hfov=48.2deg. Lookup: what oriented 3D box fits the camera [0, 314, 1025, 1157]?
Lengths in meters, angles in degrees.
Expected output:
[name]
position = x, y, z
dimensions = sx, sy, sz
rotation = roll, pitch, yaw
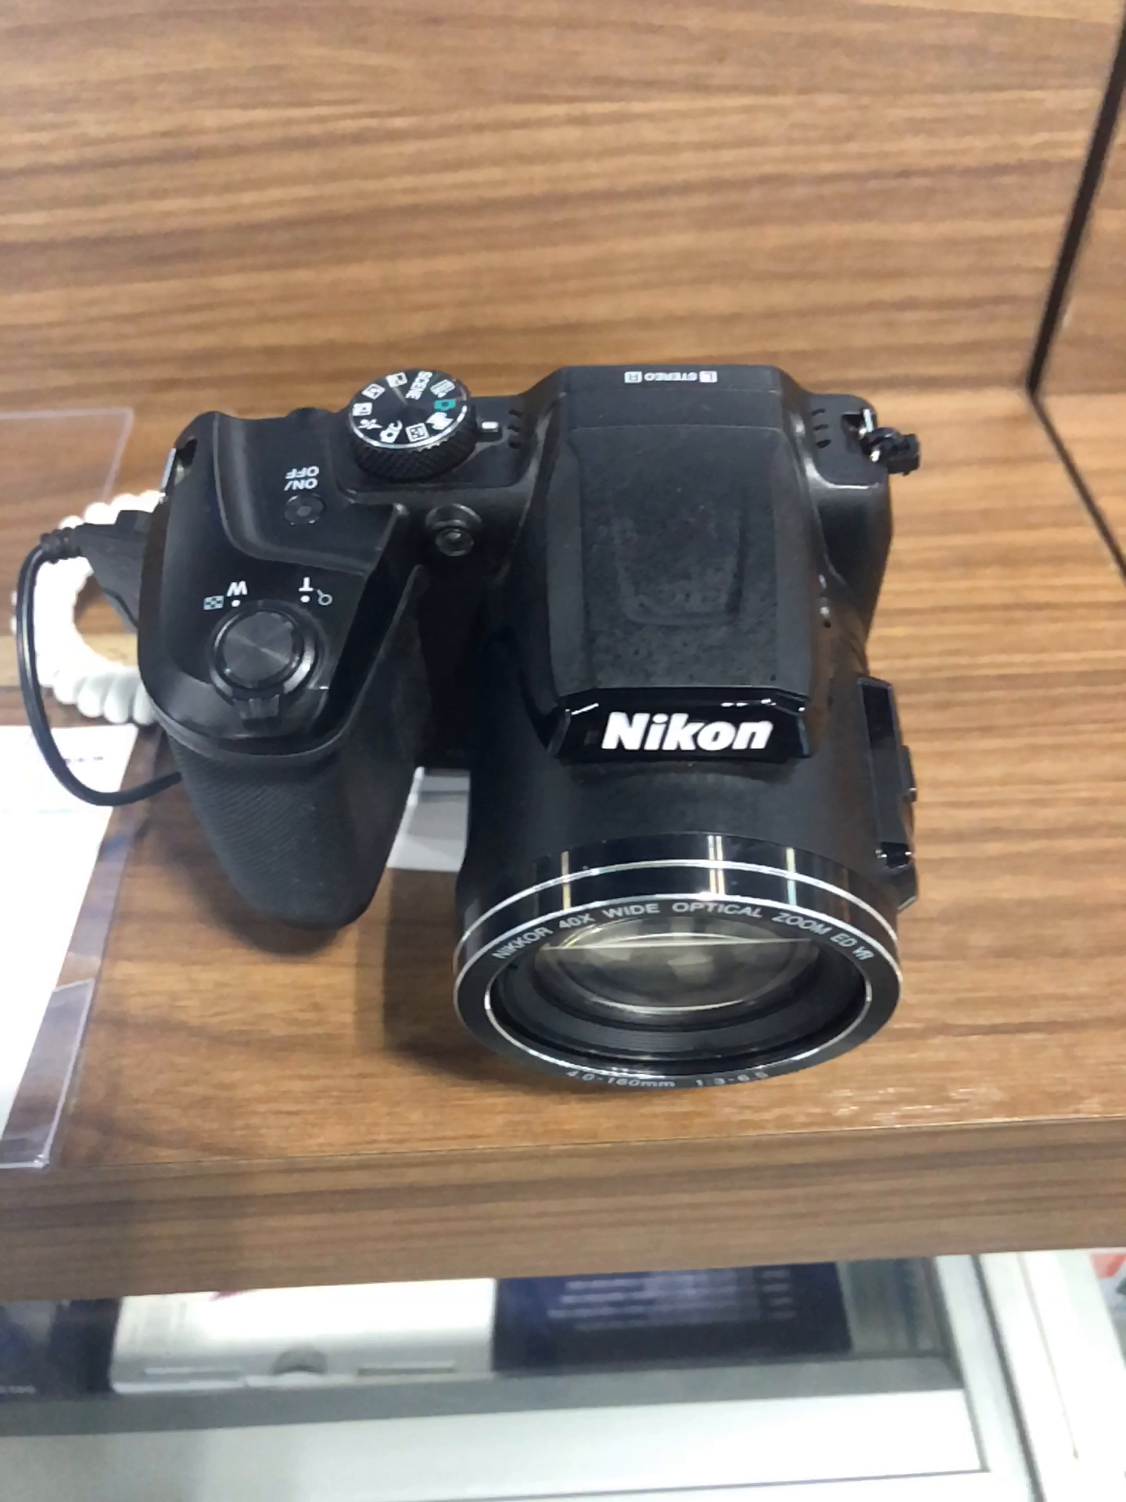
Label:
[camera]
position = -0.008, -0.004, 0.191
dimensions = 0.110, 0.079, 0.096
rotation = -2, 46, -1
